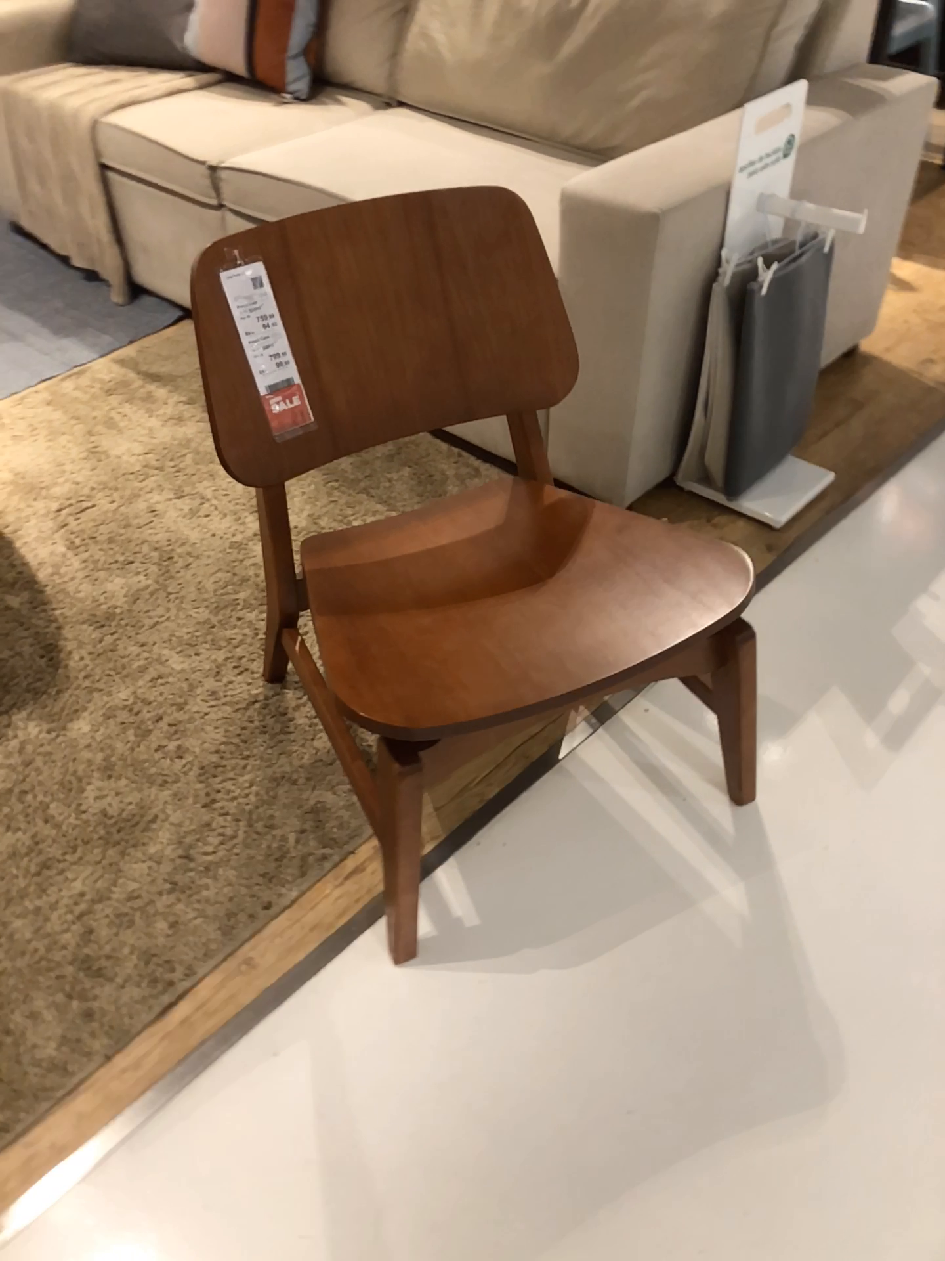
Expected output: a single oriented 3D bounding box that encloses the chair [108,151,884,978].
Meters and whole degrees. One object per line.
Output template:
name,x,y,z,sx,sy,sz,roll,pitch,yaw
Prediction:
chair,-0.014,-0.120,1.296,0.581,0.655,0.634,-19,44,-19
